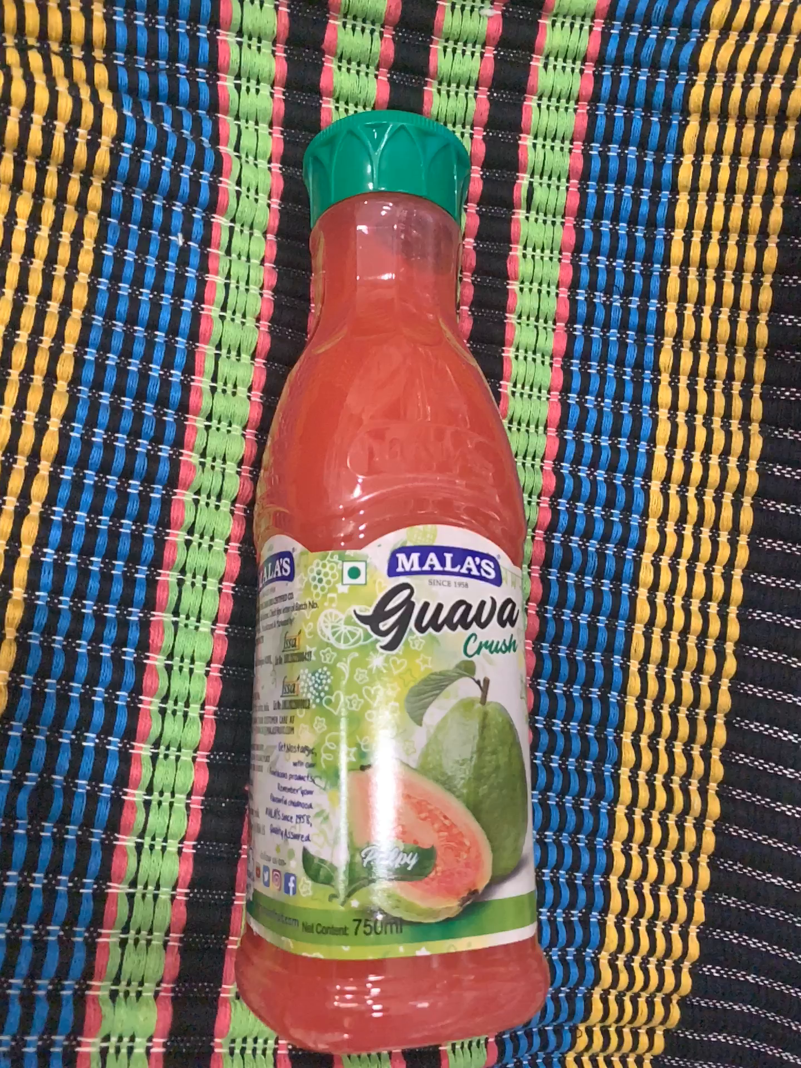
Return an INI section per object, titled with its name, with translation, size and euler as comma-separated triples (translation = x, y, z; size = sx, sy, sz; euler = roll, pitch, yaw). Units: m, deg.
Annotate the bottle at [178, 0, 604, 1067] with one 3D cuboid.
[bottle]
translation = -0.013, -0.009, 0.237
size = 0.080, 0.080, 0.260
euler = 4, 74, -23
